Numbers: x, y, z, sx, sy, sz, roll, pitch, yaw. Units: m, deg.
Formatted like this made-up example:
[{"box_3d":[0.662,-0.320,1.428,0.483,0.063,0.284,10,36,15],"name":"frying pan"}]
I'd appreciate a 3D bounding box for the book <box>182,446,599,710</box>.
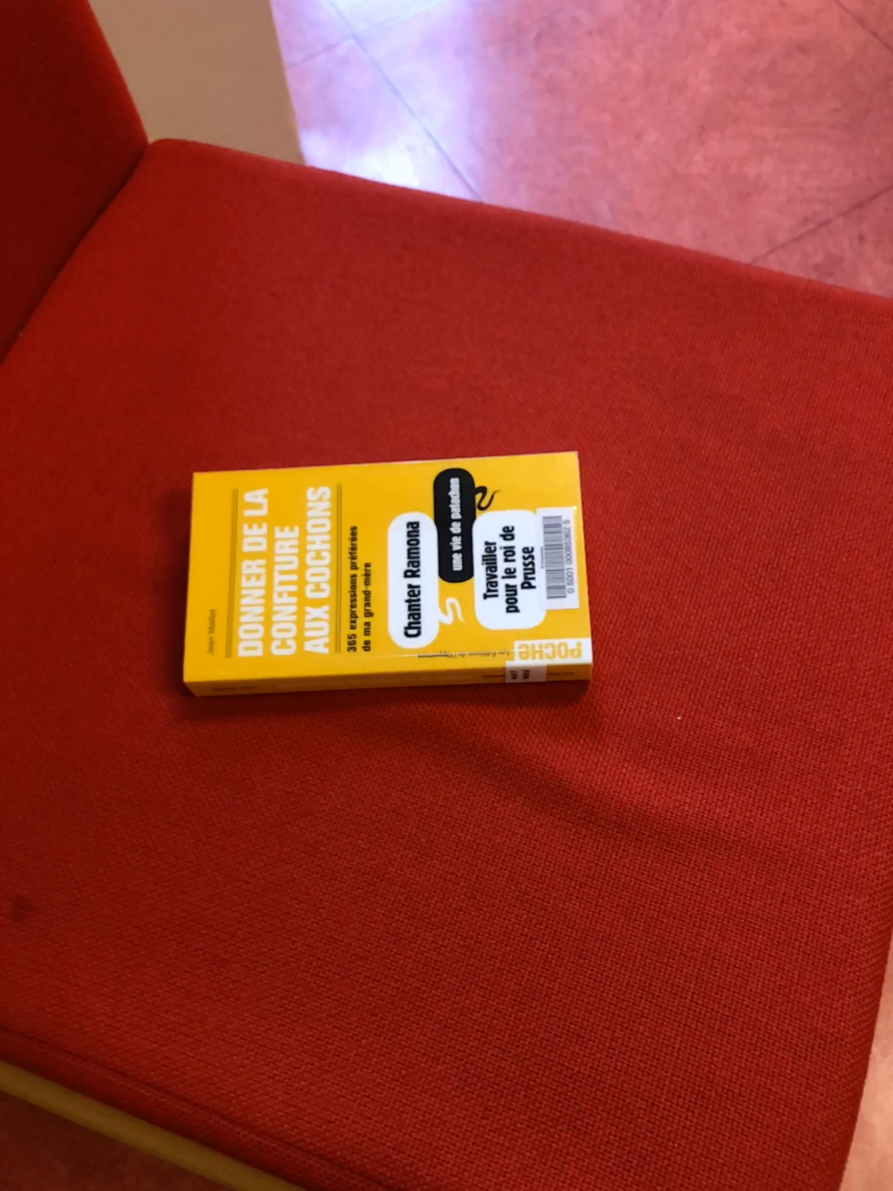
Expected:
[{"box_3d":[-0.026,-0.008,0.458,0.180,0.030,0.107,-4,68,4],"name":"book"}]
